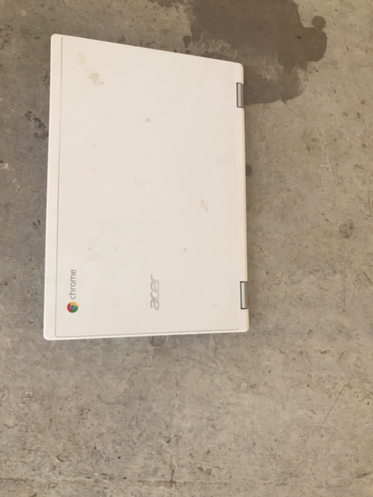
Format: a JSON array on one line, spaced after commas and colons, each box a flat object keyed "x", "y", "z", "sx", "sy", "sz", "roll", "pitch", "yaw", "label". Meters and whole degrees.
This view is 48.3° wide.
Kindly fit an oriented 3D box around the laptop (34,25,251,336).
[{"x": -0.038, "y": -0.062, "z": 0.401, "sx": 0.190, "sy": 0.046, "sz": 0.278, "roll": 1, "pitch": 84, "yaw": -9, "label": "laptop"}]
